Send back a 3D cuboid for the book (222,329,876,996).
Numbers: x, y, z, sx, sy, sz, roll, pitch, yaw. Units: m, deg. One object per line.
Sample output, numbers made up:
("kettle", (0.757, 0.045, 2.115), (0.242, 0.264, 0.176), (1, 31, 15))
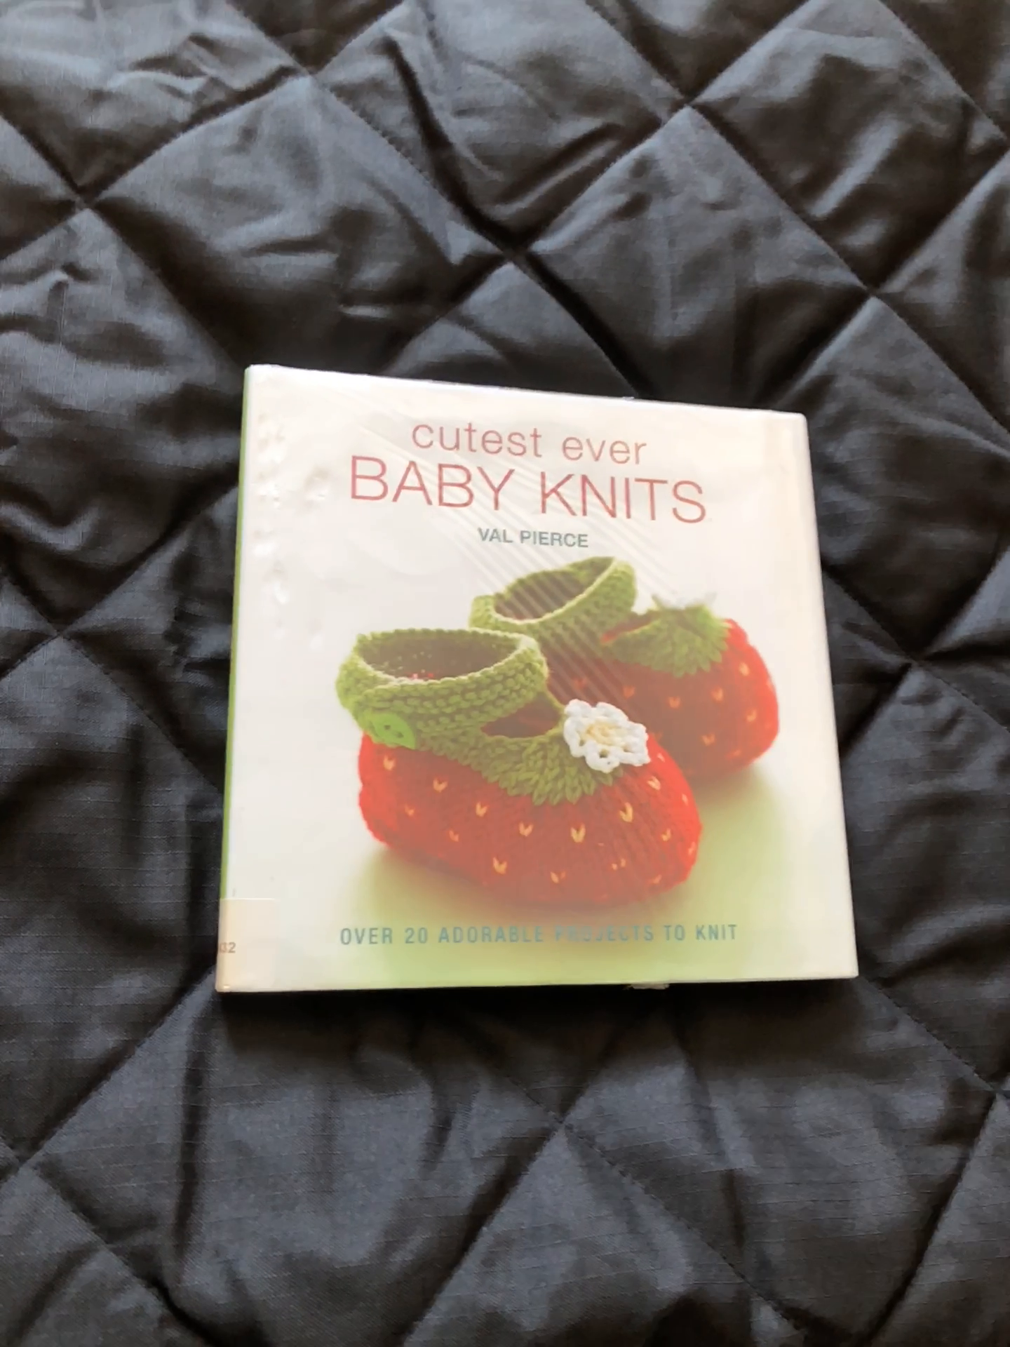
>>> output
("book", (0.015, -0.004, 0.358), (0.197, 0.020, 0.200), (2, 75, -14))
